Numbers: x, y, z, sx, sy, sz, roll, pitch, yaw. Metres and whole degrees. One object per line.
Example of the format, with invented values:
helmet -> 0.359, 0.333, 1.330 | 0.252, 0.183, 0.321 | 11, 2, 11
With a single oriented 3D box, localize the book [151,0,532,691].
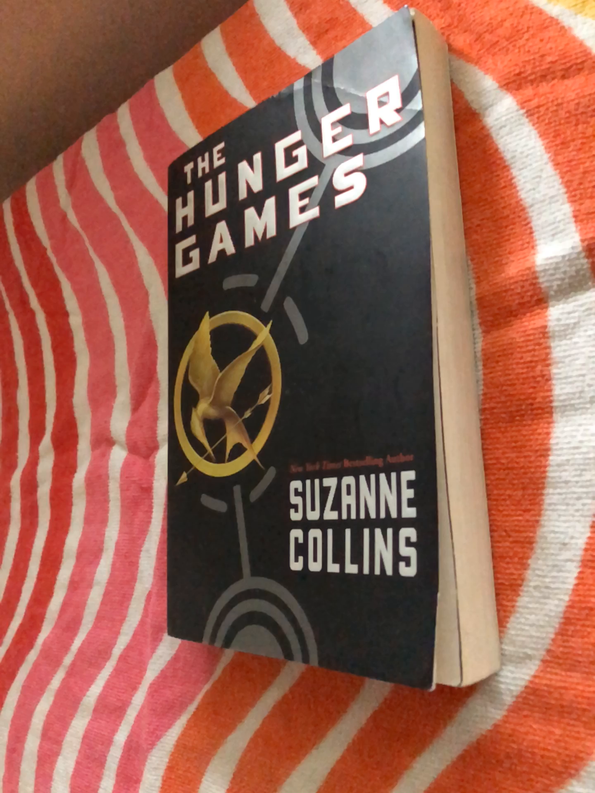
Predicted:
book -> 0.002, -0.014, 0.242 | 0.138, 0.037, 0.200 | -11, 76, 43
